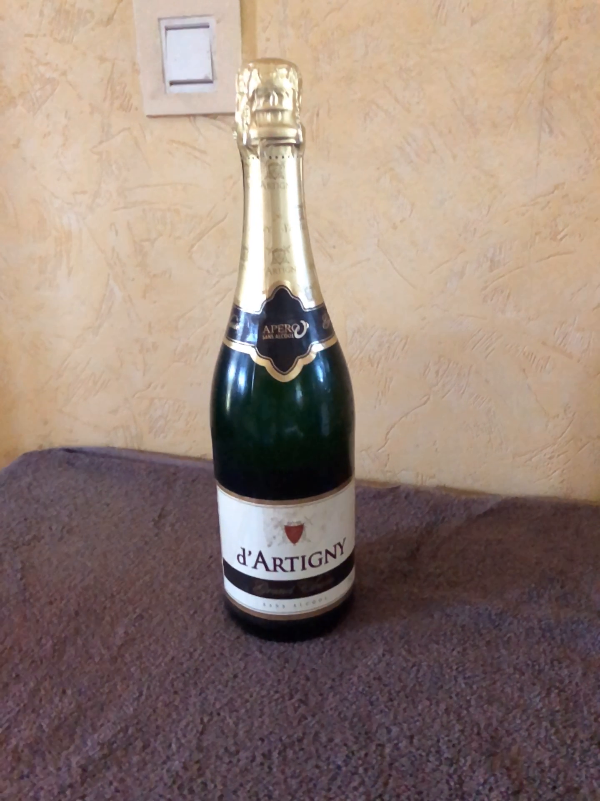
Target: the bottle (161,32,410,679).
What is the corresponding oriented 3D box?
[{"bbox_3d":[-0.004,-0.014,0.366,0.100,0.318,0.100,-1,20,1],"label":"bottle"}]
